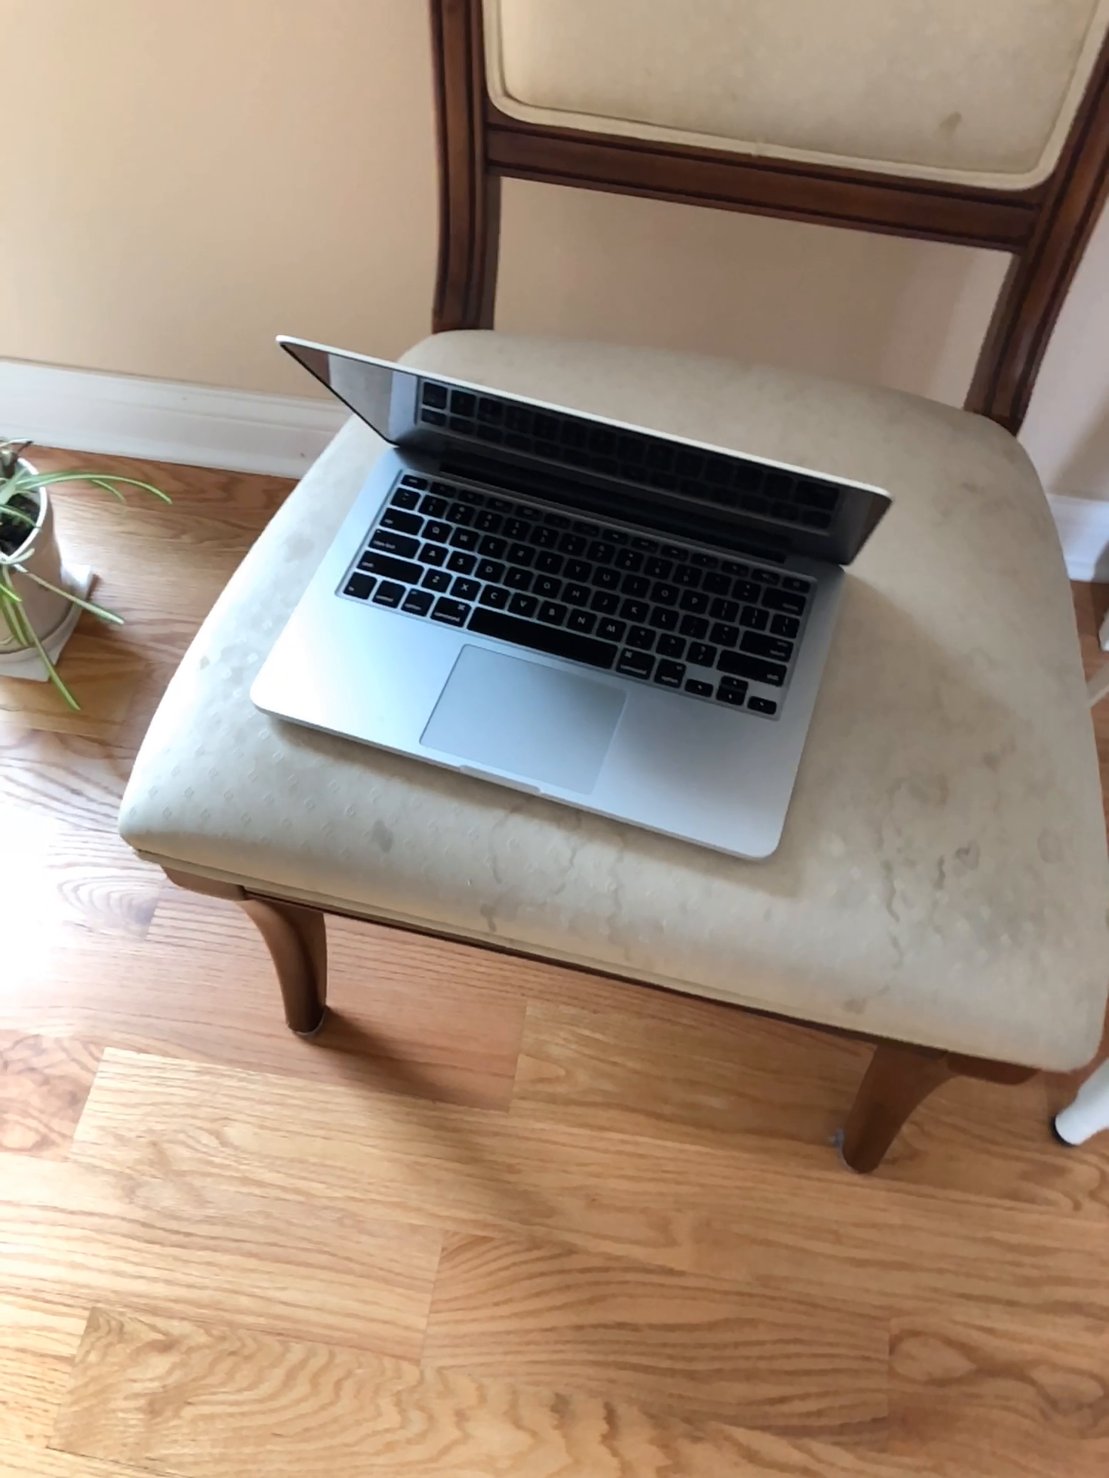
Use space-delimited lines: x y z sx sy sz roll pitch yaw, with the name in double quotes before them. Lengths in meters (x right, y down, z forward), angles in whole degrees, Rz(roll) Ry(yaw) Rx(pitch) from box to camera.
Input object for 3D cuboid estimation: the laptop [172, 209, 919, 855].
"laptop" 0.005 -0.114 0.665 0.309 0.183 0.219 16 58 9
